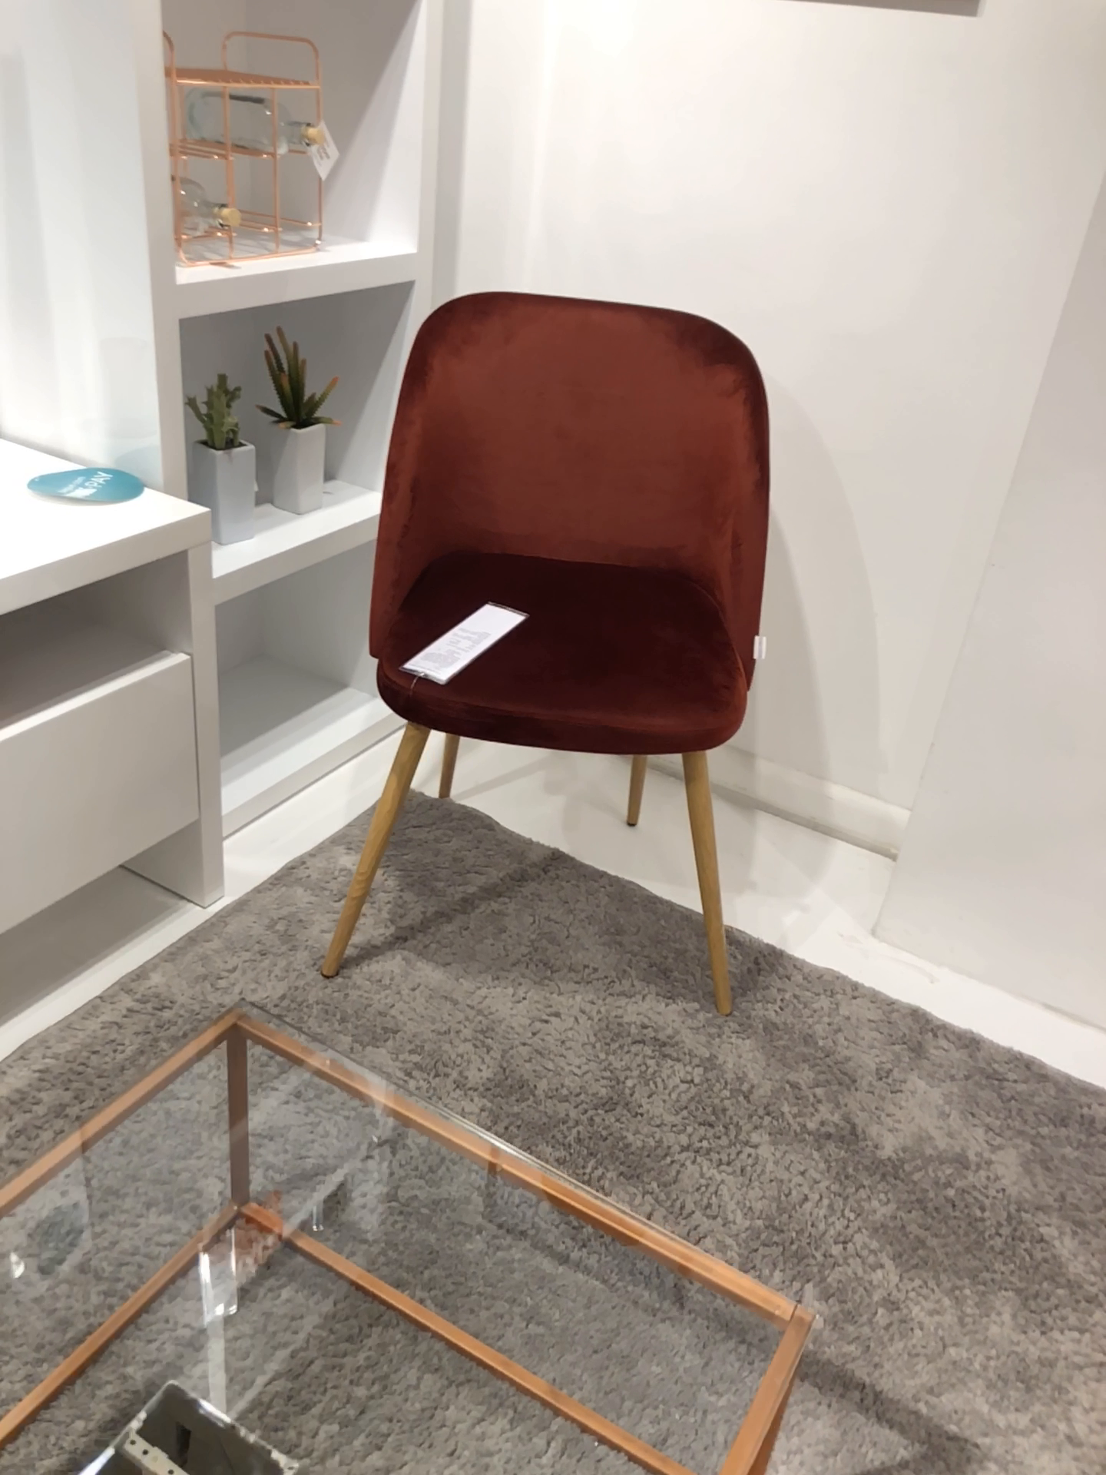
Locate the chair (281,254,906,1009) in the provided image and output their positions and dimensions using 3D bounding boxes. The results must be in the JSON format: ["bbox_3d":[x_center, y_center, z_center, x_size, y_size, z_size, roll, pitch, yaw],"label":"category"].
[{"bbox_3d":[-0.010,-0.163,1.594,0.590,0.734,0.655,4,29,-5],"label":"chair"}]
